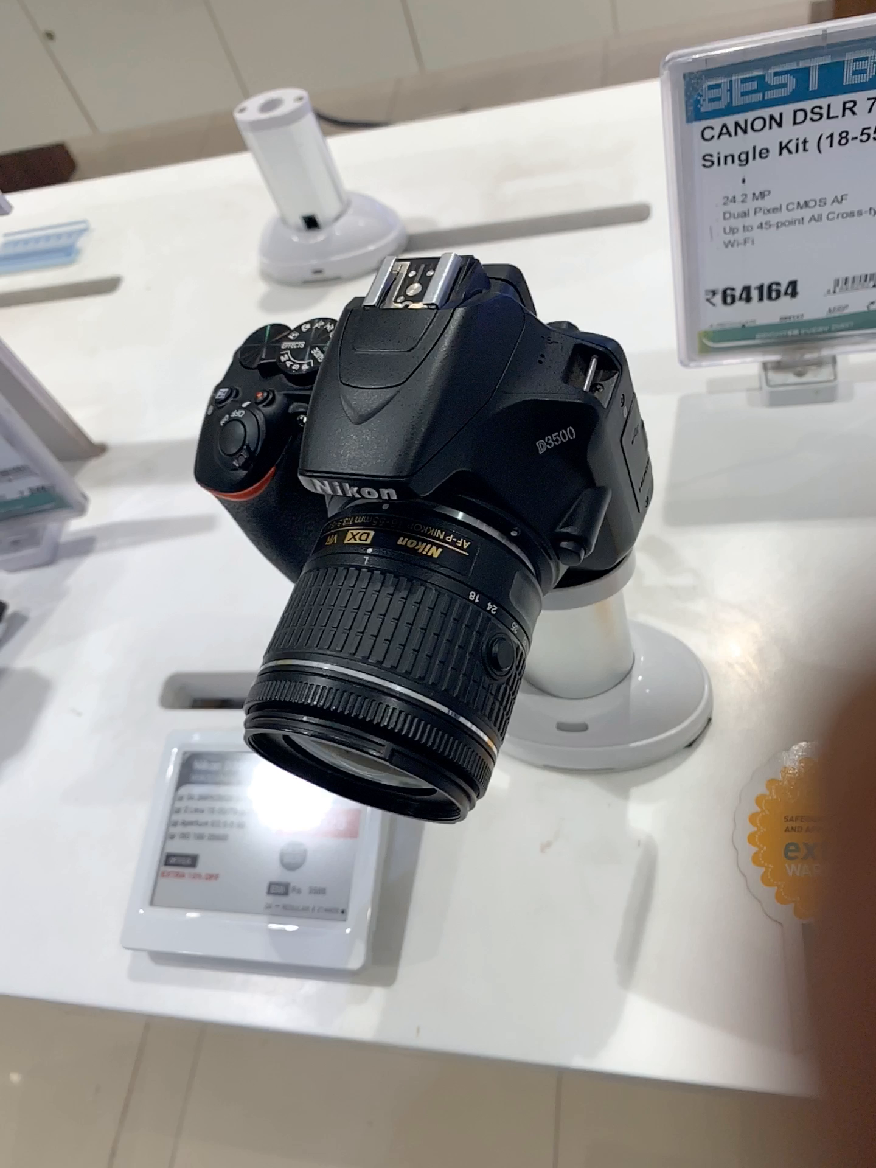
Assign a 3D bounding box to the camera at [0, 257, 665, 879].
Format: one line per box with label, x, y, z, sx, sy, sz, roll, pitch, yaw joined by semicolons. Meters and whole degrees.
camera;-0.013;-0.006;0.218;0.110;0.090;0.103;8;60;22
